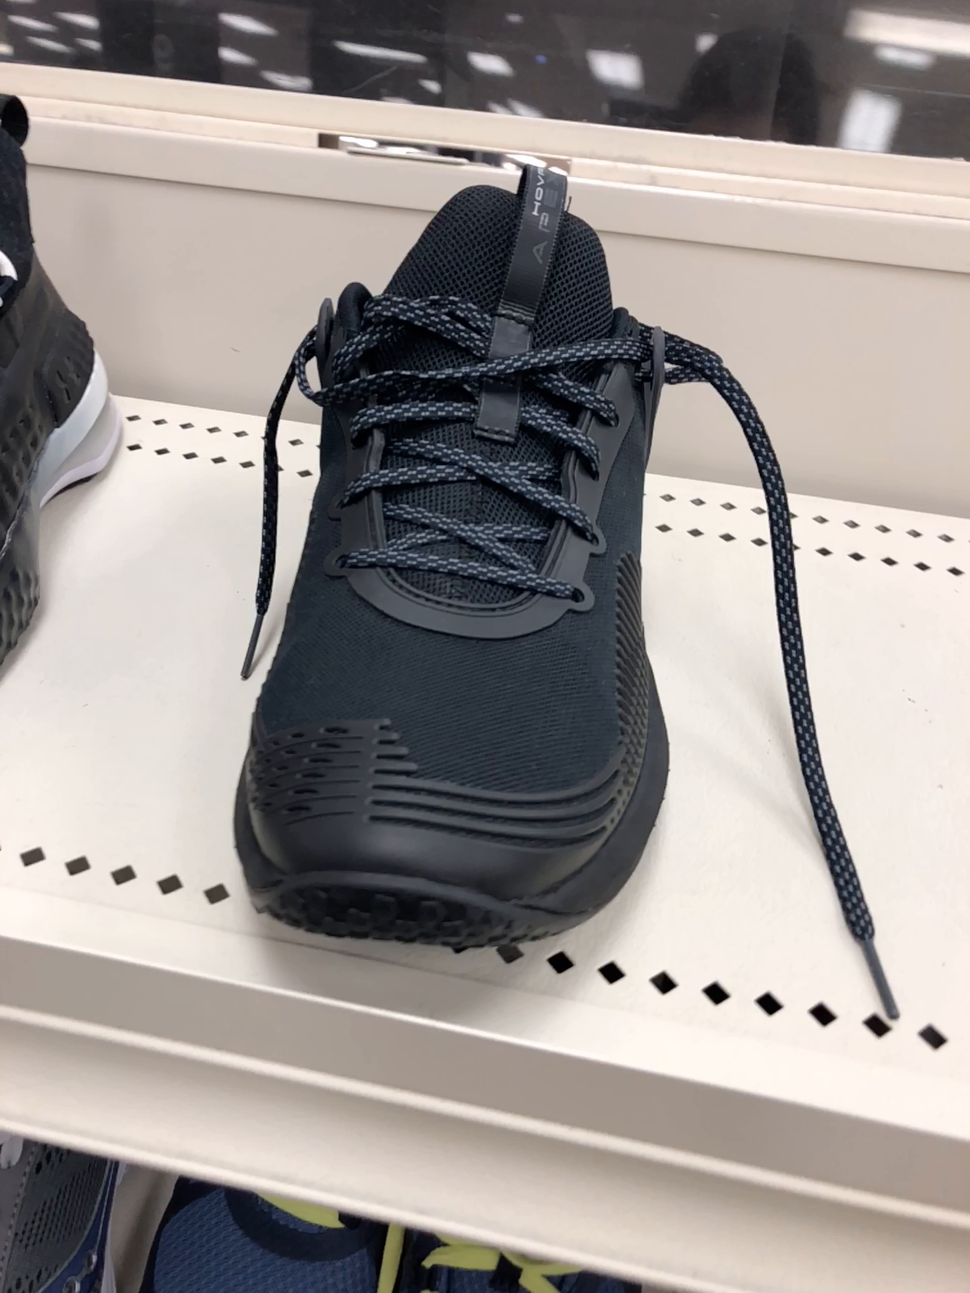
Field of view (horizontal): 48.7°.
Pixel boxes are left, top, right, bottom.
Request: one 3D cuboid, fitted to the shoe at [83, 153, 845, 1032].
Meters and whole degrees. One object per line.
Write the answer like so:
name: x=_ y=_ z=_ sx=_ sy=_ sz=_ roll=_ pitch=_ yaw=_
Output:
shoe: x=0.012 y=-0.069 z=0.350 sx=0.120 sy=0.129 sz=0.353 roll=8 pitch=30 yaw=4
